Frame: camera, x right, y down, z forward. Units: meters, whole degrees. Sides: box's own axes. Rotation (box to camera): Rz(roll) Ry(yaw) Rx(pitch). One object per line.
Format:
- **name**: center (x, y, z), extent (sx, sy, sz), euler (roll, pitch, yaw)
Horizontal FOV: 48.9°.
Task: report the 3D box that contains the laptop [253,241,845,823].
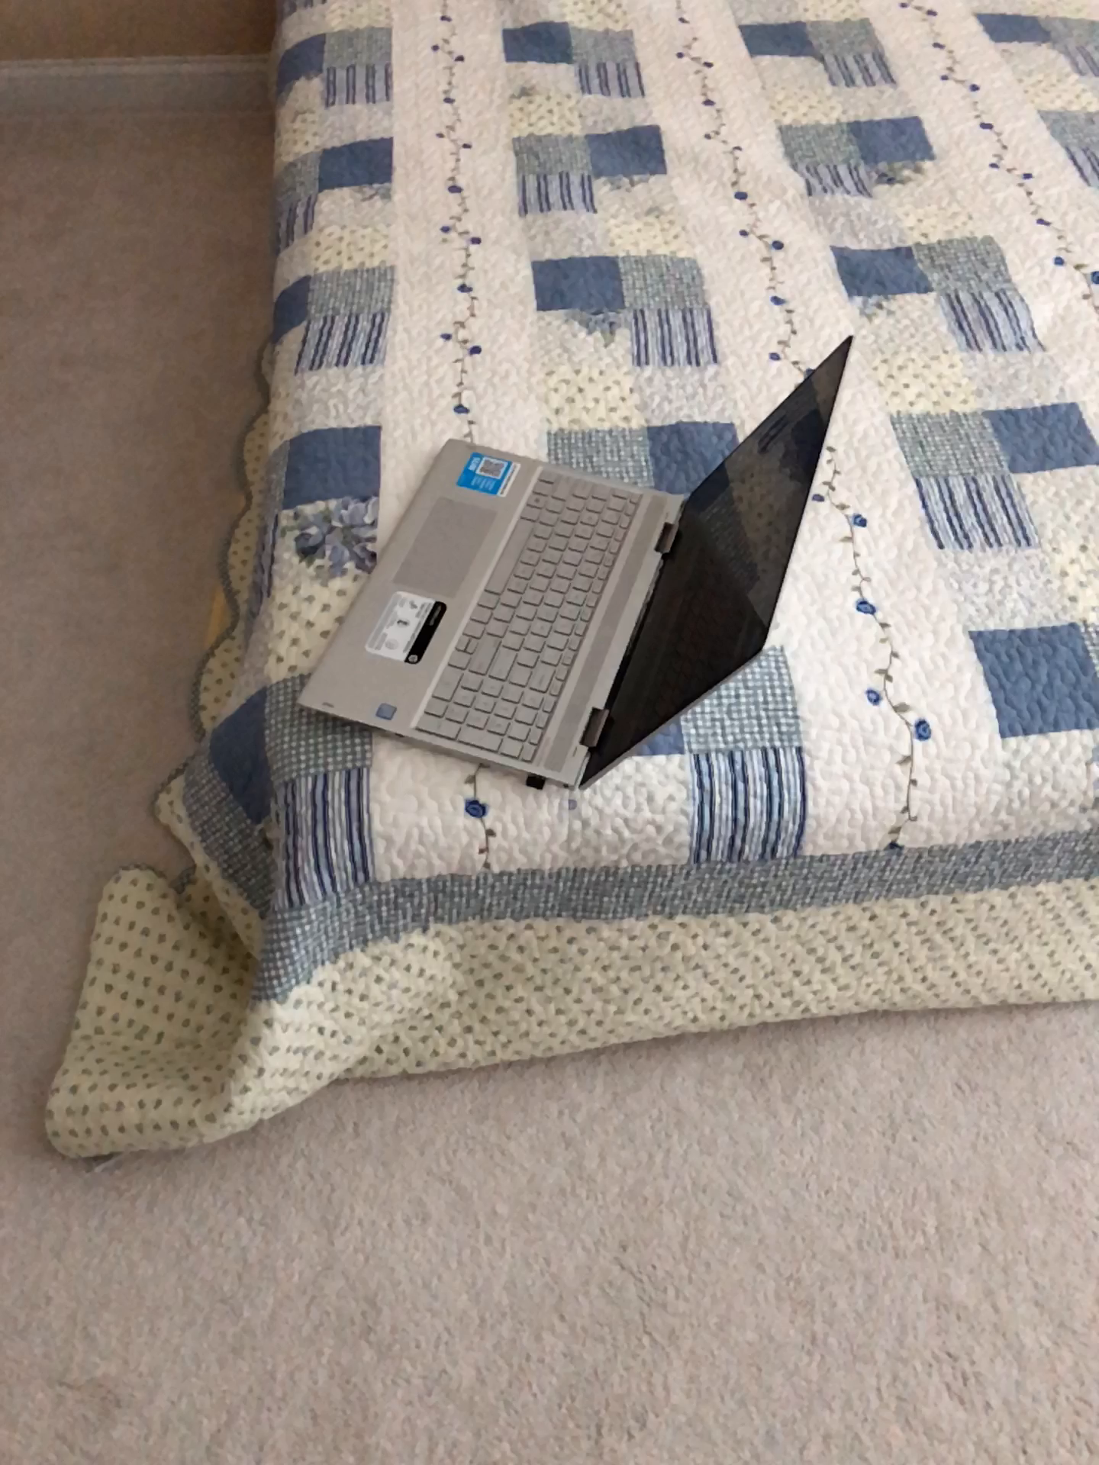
- **laptop**: center (0.017, -0.178, 0.998), extent (0.357, 0.208, 0.356), euler (16, 54, 9)
